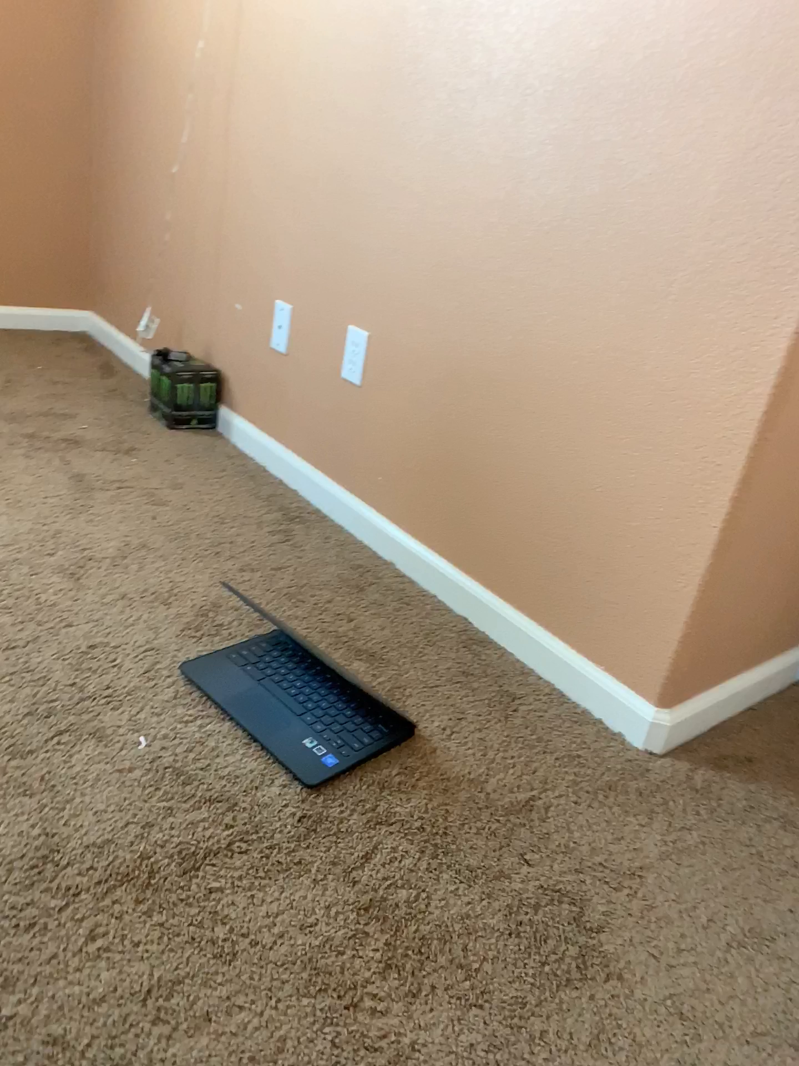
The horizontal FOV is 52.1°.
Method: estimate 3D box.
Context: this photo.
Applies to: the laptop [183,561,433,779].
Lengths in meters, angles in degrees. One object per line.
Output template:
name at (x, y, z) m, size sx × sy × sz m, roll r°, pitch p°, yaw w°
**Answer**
laptop at (-0.133, 0.173, 1.134) m, size 0.290 × 0.127 × 0.195 m, roll 30°, pitch 27°, yaw 36°
